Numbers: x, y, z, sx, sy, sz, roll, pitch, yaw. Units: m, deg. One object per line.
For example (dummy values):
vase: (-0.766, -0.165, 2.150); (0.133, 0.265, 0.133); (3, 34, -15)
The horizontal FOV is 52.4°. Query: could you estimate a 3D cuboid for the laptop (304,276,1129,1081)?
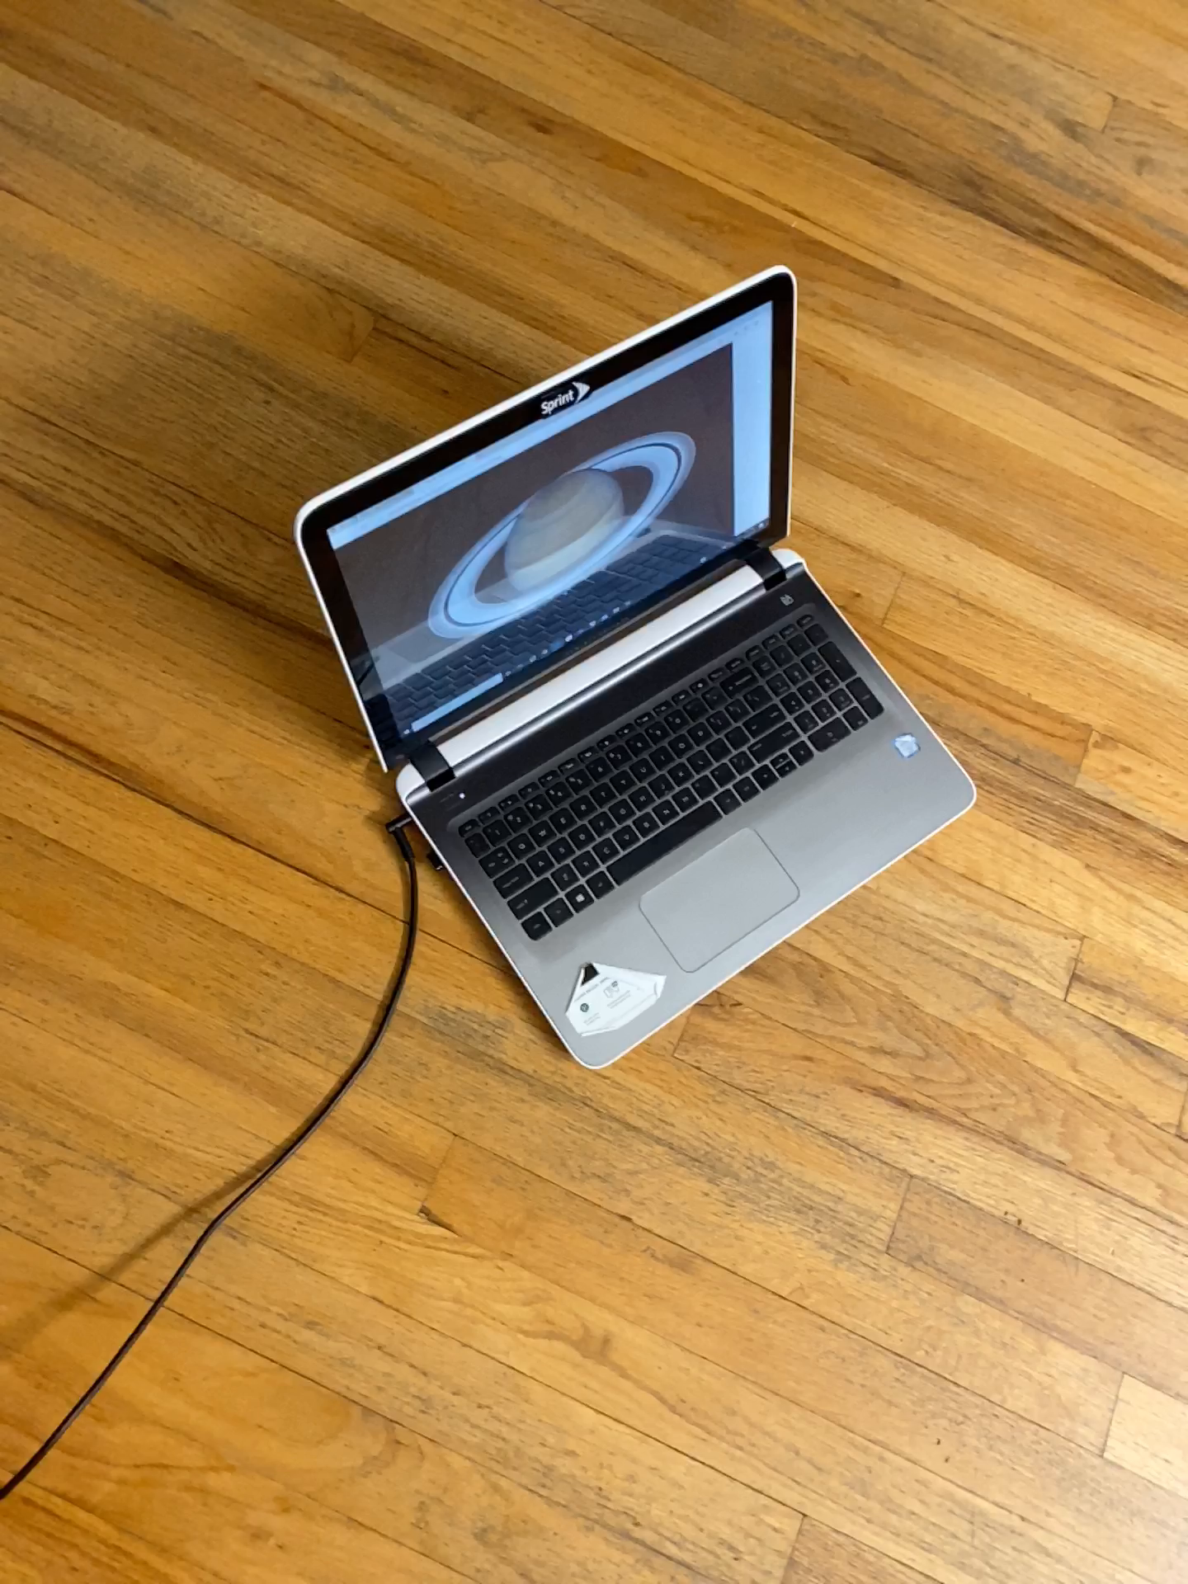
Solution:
laptop: (0.069, -0.074, 0.825); (0.371, 0.202, 0.363); (-32, 80, -18)
